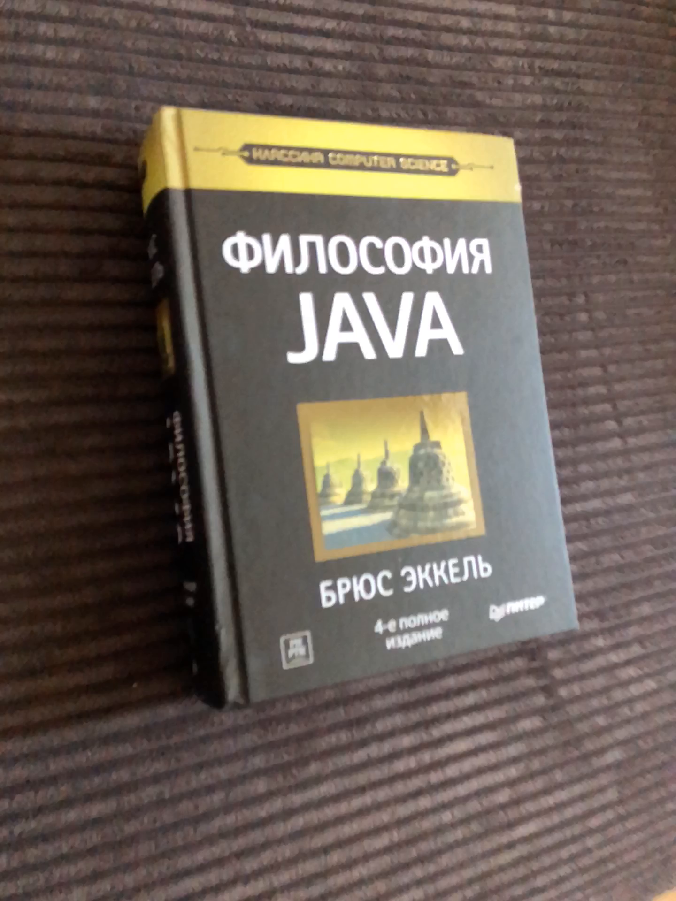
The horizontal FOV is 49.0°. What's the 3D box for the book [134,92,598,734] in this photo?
[{"bbox_3d":[0.013,-0.022,0.335,0.172,0.060,0.239,-6,87,-23],"label":"book"}]
